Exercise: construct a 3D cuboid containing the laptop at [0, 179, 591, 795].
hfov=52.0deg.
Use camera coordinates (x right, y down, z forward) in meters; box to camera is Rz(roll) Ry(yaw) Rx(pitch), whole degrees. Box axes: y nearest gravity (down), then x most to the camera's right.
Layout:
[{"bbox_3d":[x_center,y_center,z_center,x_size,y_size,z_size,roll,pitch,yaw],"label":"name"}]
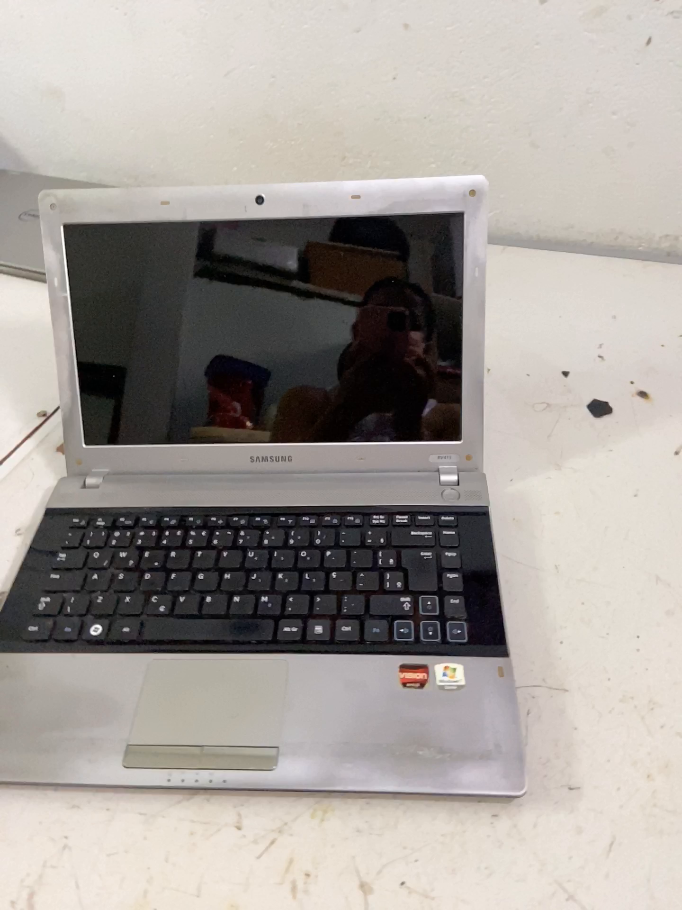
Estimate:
[{"bbox_3d":[-0.067,-0.010,0.460,0.341,0.180,0.368,0,44,5],"label":"laptop"}]
